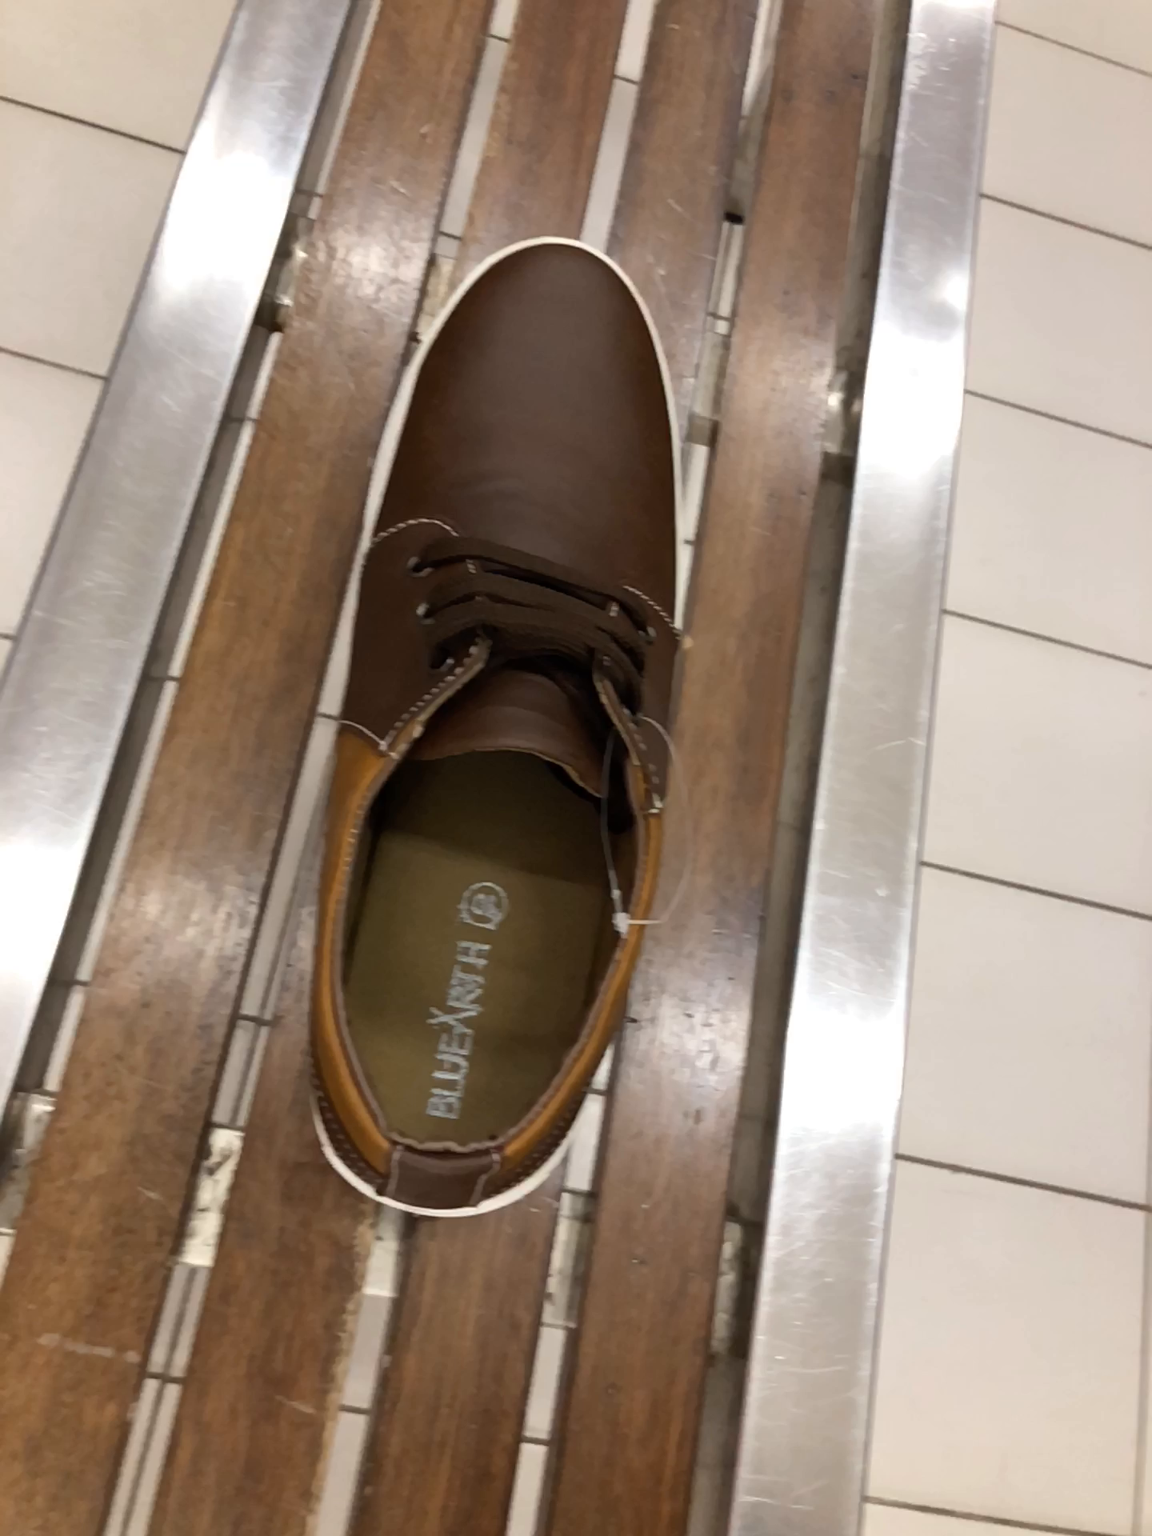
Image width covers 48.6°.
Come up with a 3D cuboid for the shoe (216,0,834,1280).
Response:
[{"bbox_3d":[-0.009,-0.035,0.354,0.109,0.114,0.312,10,71,-9],"label":"shoe"}]
